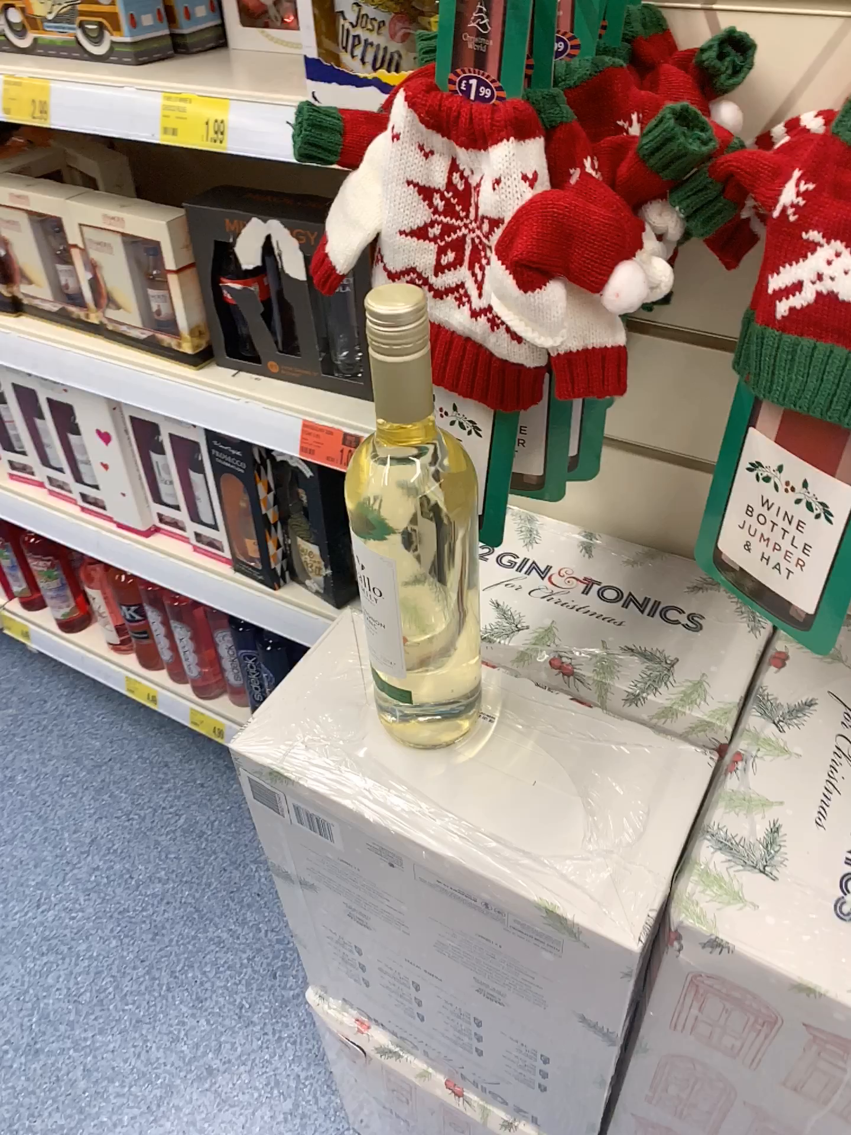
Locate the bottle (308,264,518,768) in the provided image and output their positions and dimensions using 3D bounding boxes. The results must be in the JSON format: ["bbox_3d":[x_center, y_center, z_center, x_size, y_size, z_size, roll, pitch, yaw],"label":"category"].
[{"bbox_3d":[-0.002,-0.014,0.499,0.073,0.285,0.073,-2,40,1],"label":"bottle"}]
